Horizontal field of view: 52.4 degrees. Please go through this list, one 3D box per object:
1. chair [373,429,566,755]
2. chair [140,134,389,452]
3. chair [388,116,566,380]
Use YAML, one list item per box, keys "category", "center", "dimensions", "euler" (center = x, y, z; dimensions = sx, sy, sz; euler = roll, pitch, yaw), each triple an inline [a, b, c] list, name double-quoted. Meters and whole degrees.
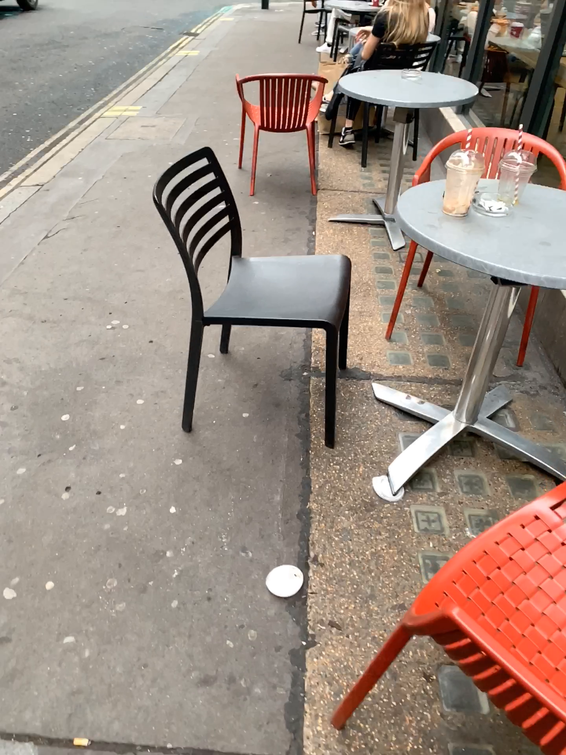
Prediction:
- category: "chair"
  center: [0.656, 0.678, 0.804]
  dimensions: [0.642, 0.772, 0.705]
  euler: [-21, 44, -29]
- category: "chair"
  center: [-0.029, -0.271, 1.815]
  dimensions: [0.600, 0.752, 0.555]
  euler: [8, 37, 5]
- category: "chair"
  center: [0.812, -0.533, 2.285]
  dimensions: [0.571, 0.742, 0.646]
  euler: [13, 38, 12]
